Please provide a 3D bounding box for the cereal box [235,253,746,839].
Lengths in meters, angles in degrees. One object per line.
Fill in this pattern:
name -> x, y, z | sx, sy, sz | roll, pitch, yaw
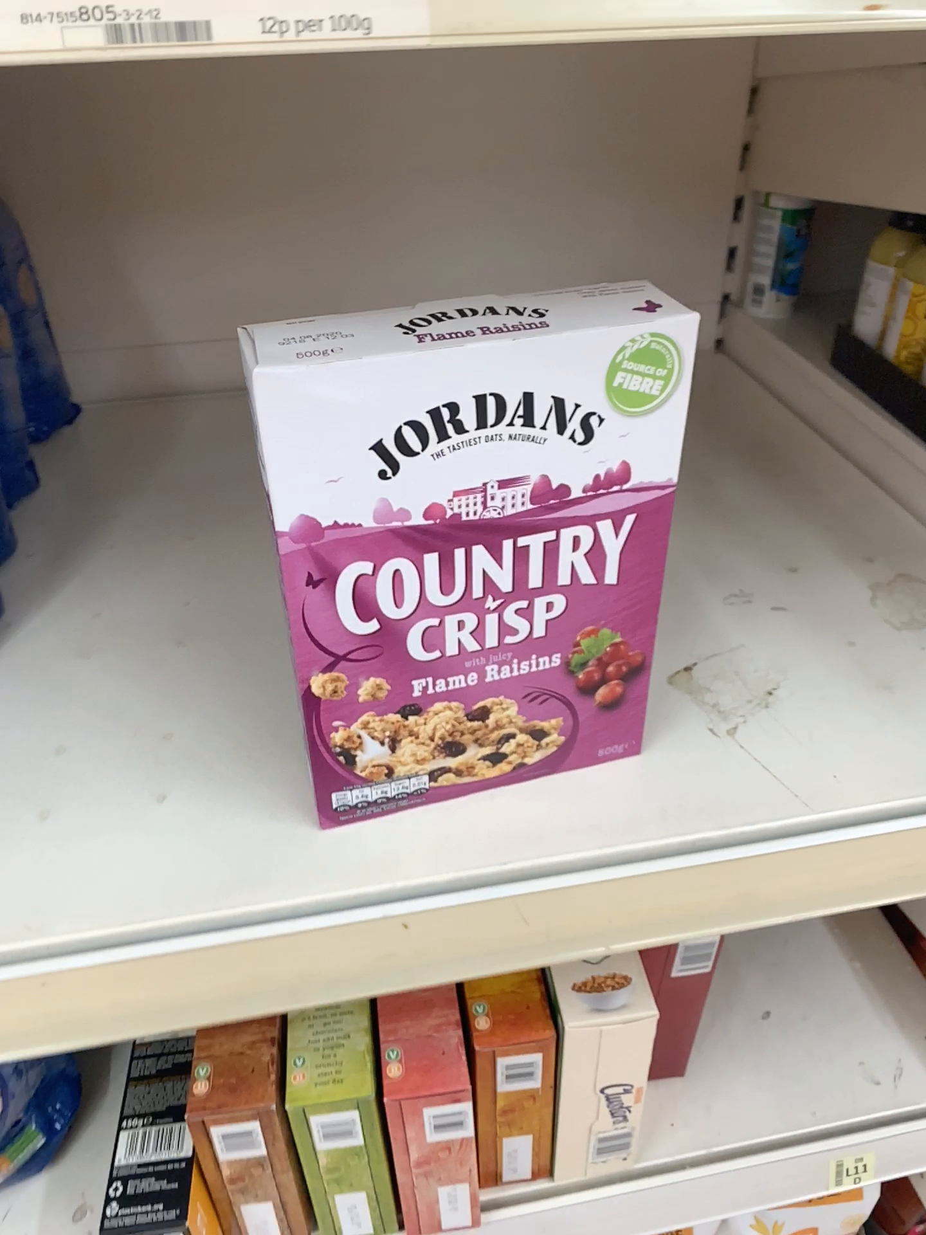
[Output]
cereal box -> 0.013, -0.024, 0.438 | 0.190, 0.248, 0.050 | -11, 37, -14
